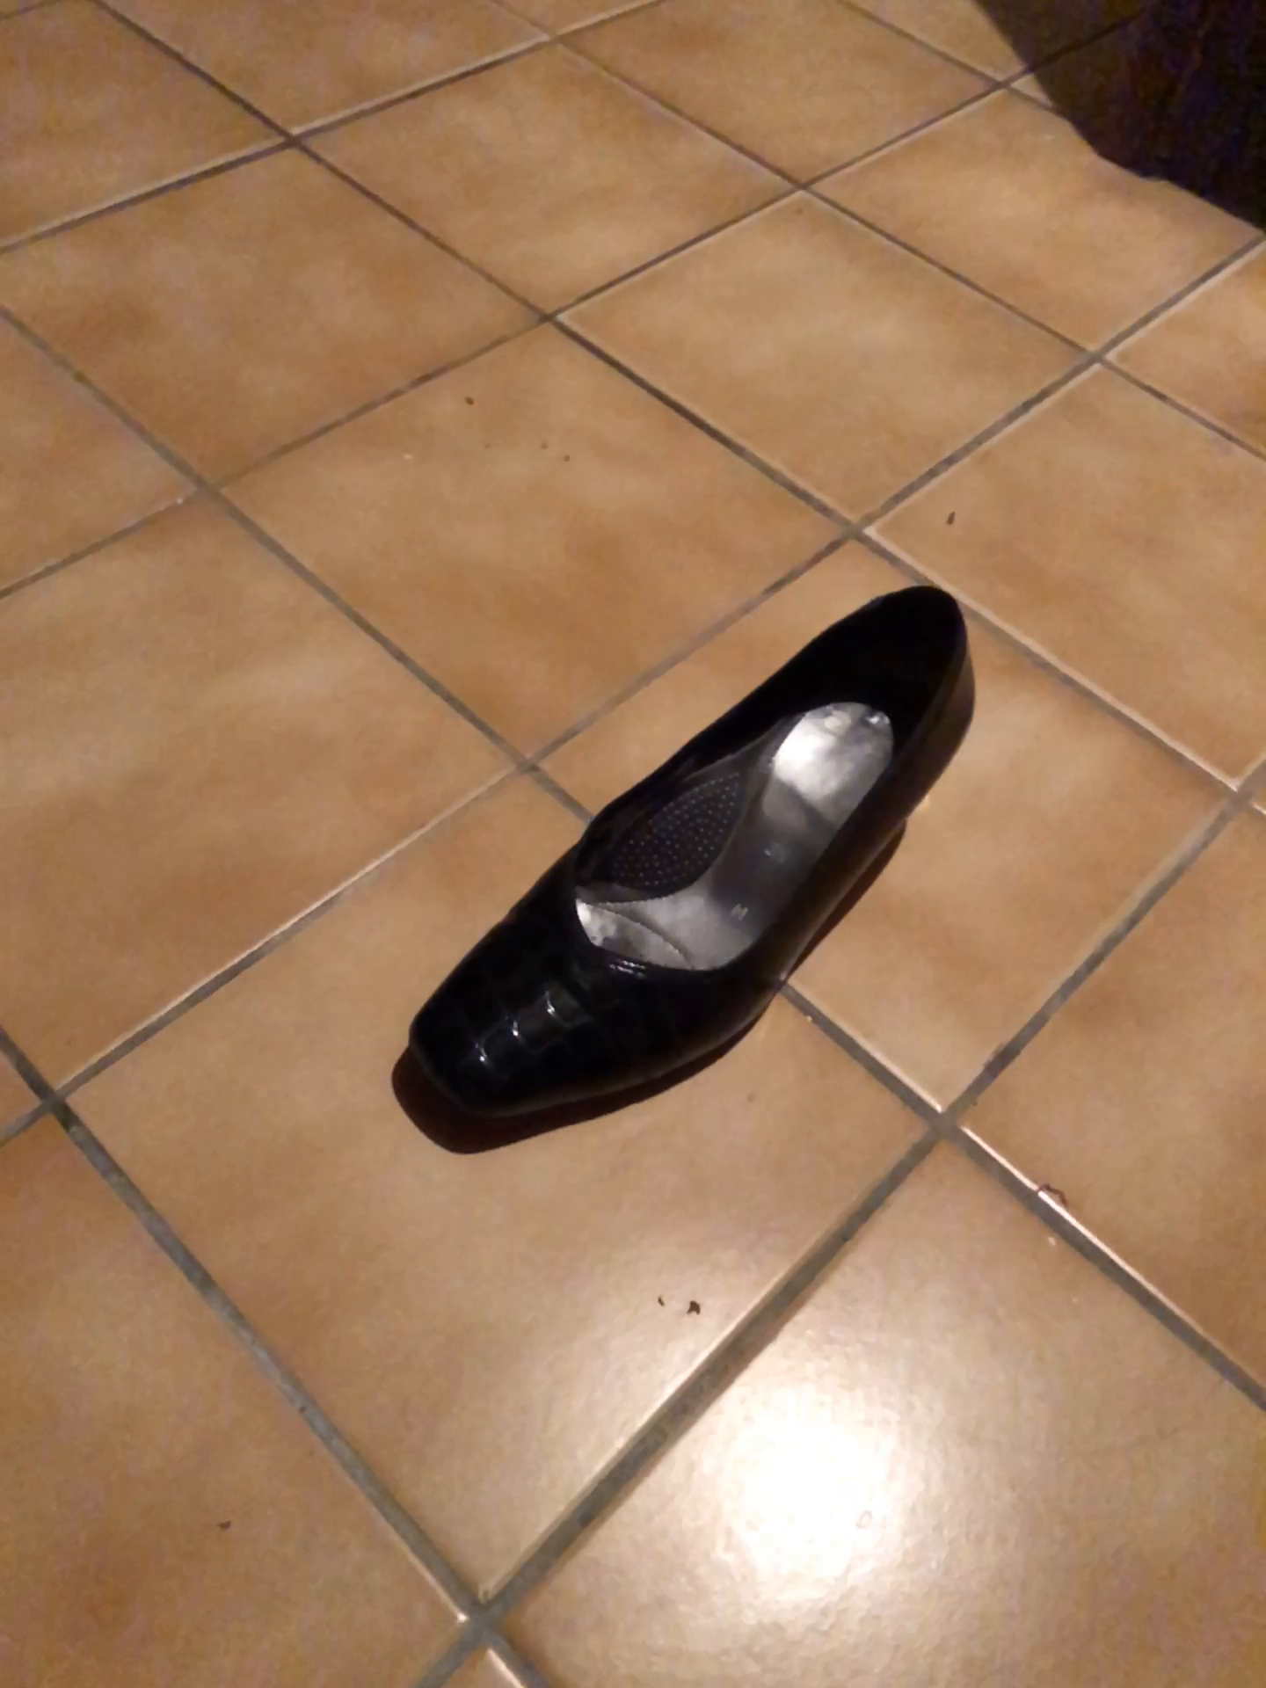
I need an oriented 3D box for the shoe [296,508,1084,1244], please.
[{"bbox_3d":[0.025,0.000,0.470,0.251,0.089,0.100,-36,66,-28],"label":"shoe"}]
